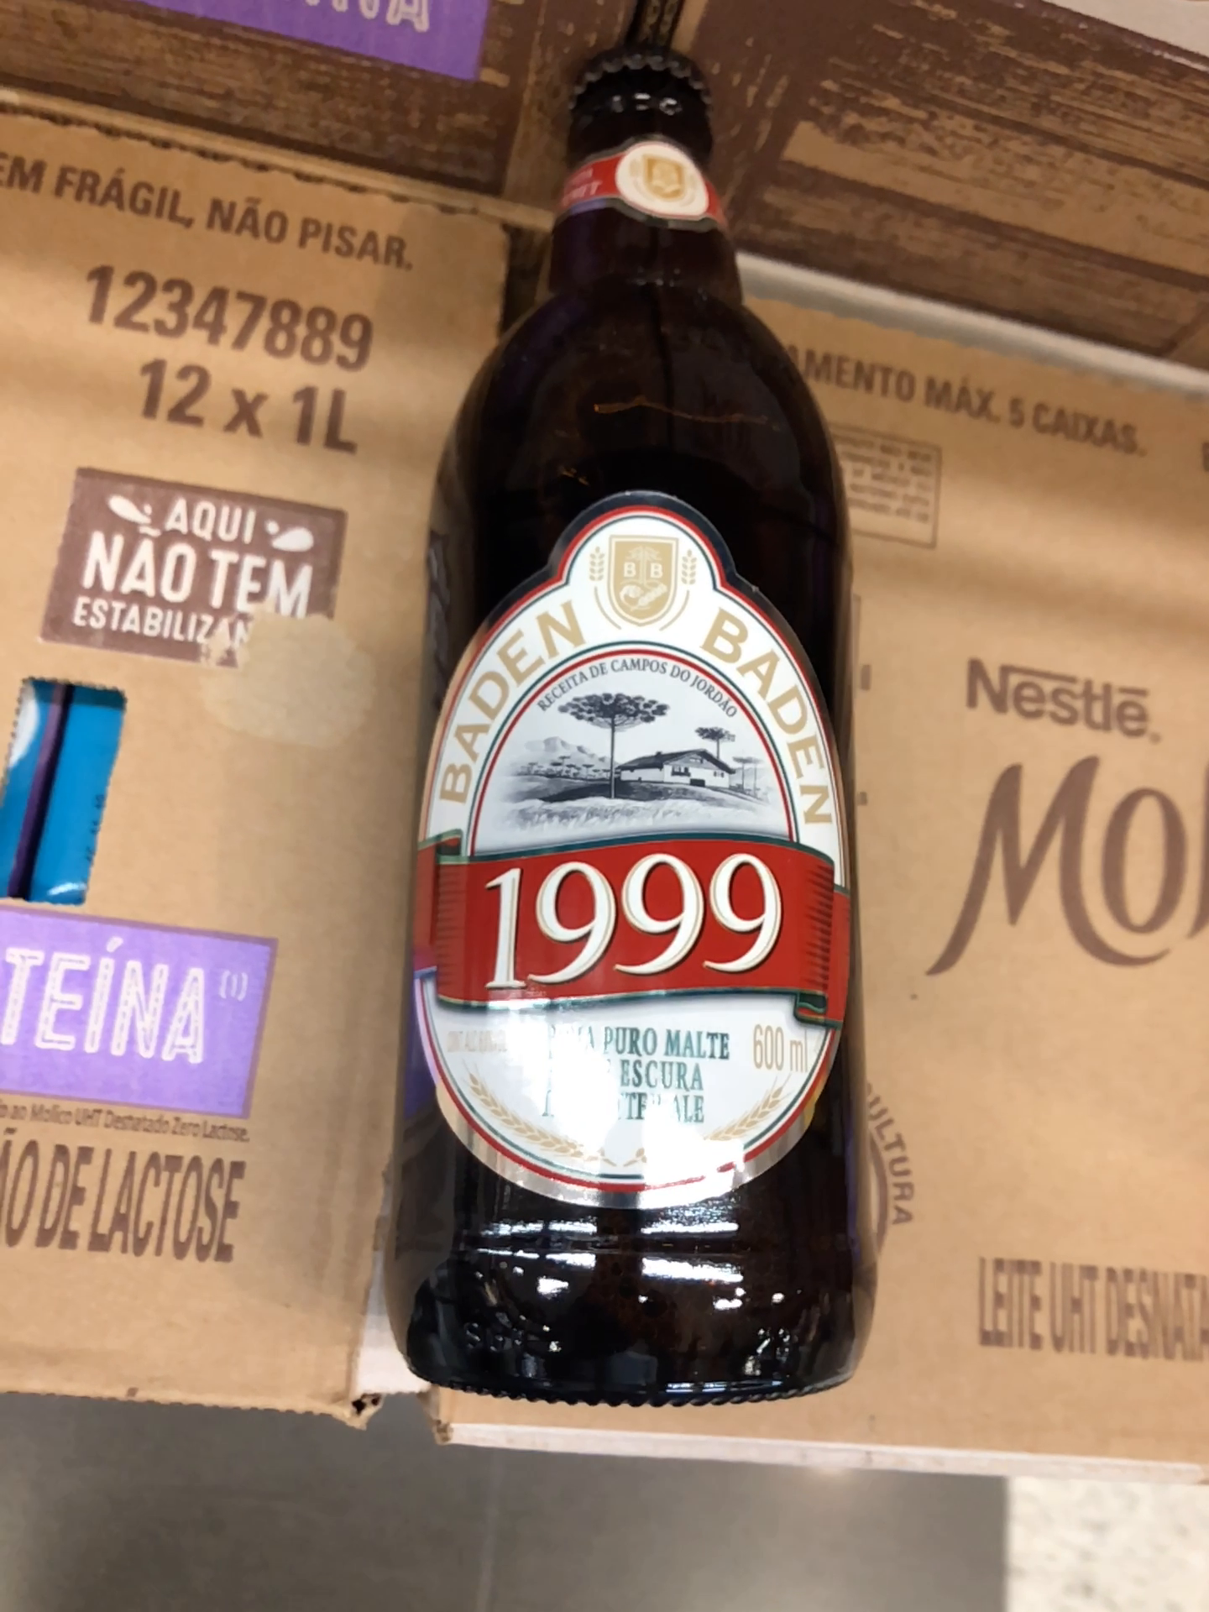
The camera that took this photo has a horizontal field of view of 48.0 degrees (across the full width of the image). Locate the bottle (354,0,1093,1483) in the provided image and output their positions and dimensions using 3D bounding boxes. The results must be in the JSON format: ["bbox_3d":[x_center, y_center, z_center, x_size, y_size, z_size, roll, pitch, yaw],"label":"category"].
[{"bbox_3d":[0.007,-0.041,0.252,0.090,0.100,0.280,3,74,-12],"label":"bottle"}]
